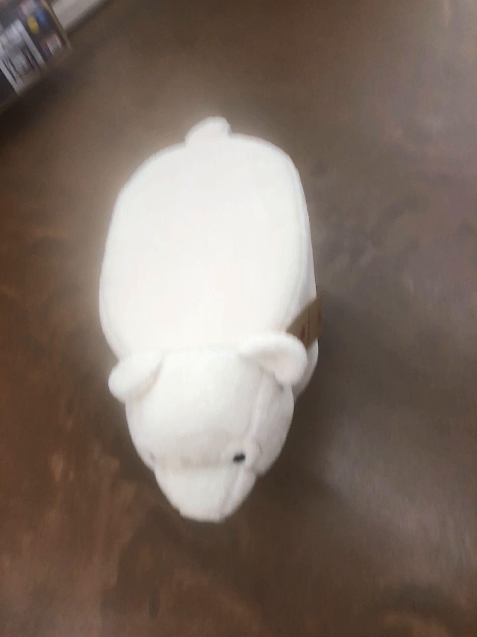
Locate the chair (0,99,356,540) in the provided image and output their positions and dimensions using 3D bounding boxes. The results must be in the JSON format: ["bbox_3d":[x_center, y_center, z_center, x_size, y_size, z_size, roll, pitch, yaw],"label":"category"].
[{"bbox_3d":[-0.040,0.007,0.904,0.440,0.350,0.630,-3,59,12],"label":"chair"}]
